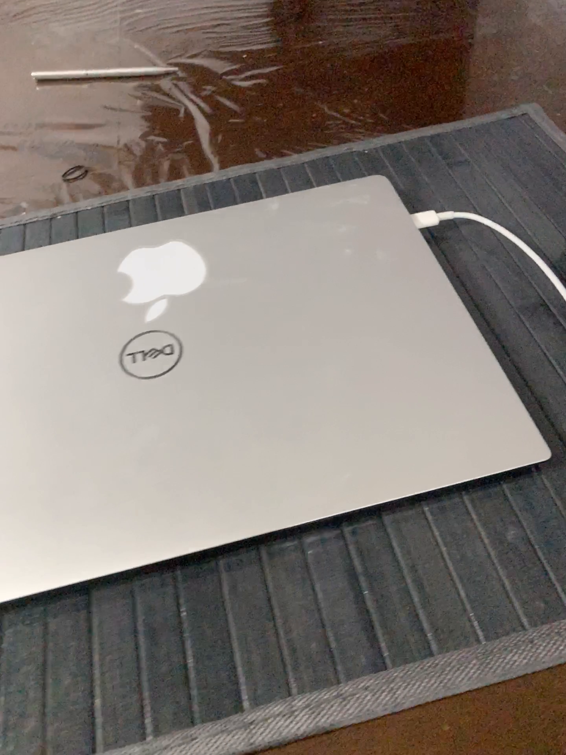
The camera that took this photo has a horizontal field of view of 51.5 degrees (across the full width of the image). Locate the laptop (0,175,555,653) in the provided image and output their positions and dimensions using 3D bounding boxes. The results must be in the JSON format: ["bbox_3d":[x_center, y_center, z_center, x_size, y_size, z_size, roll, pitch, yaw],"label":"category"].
[{"bbox_3d":[-0.053,-0.011,0.264,0.271,0.001,0.189,-14,52,-4],"label":"laptop"}]
